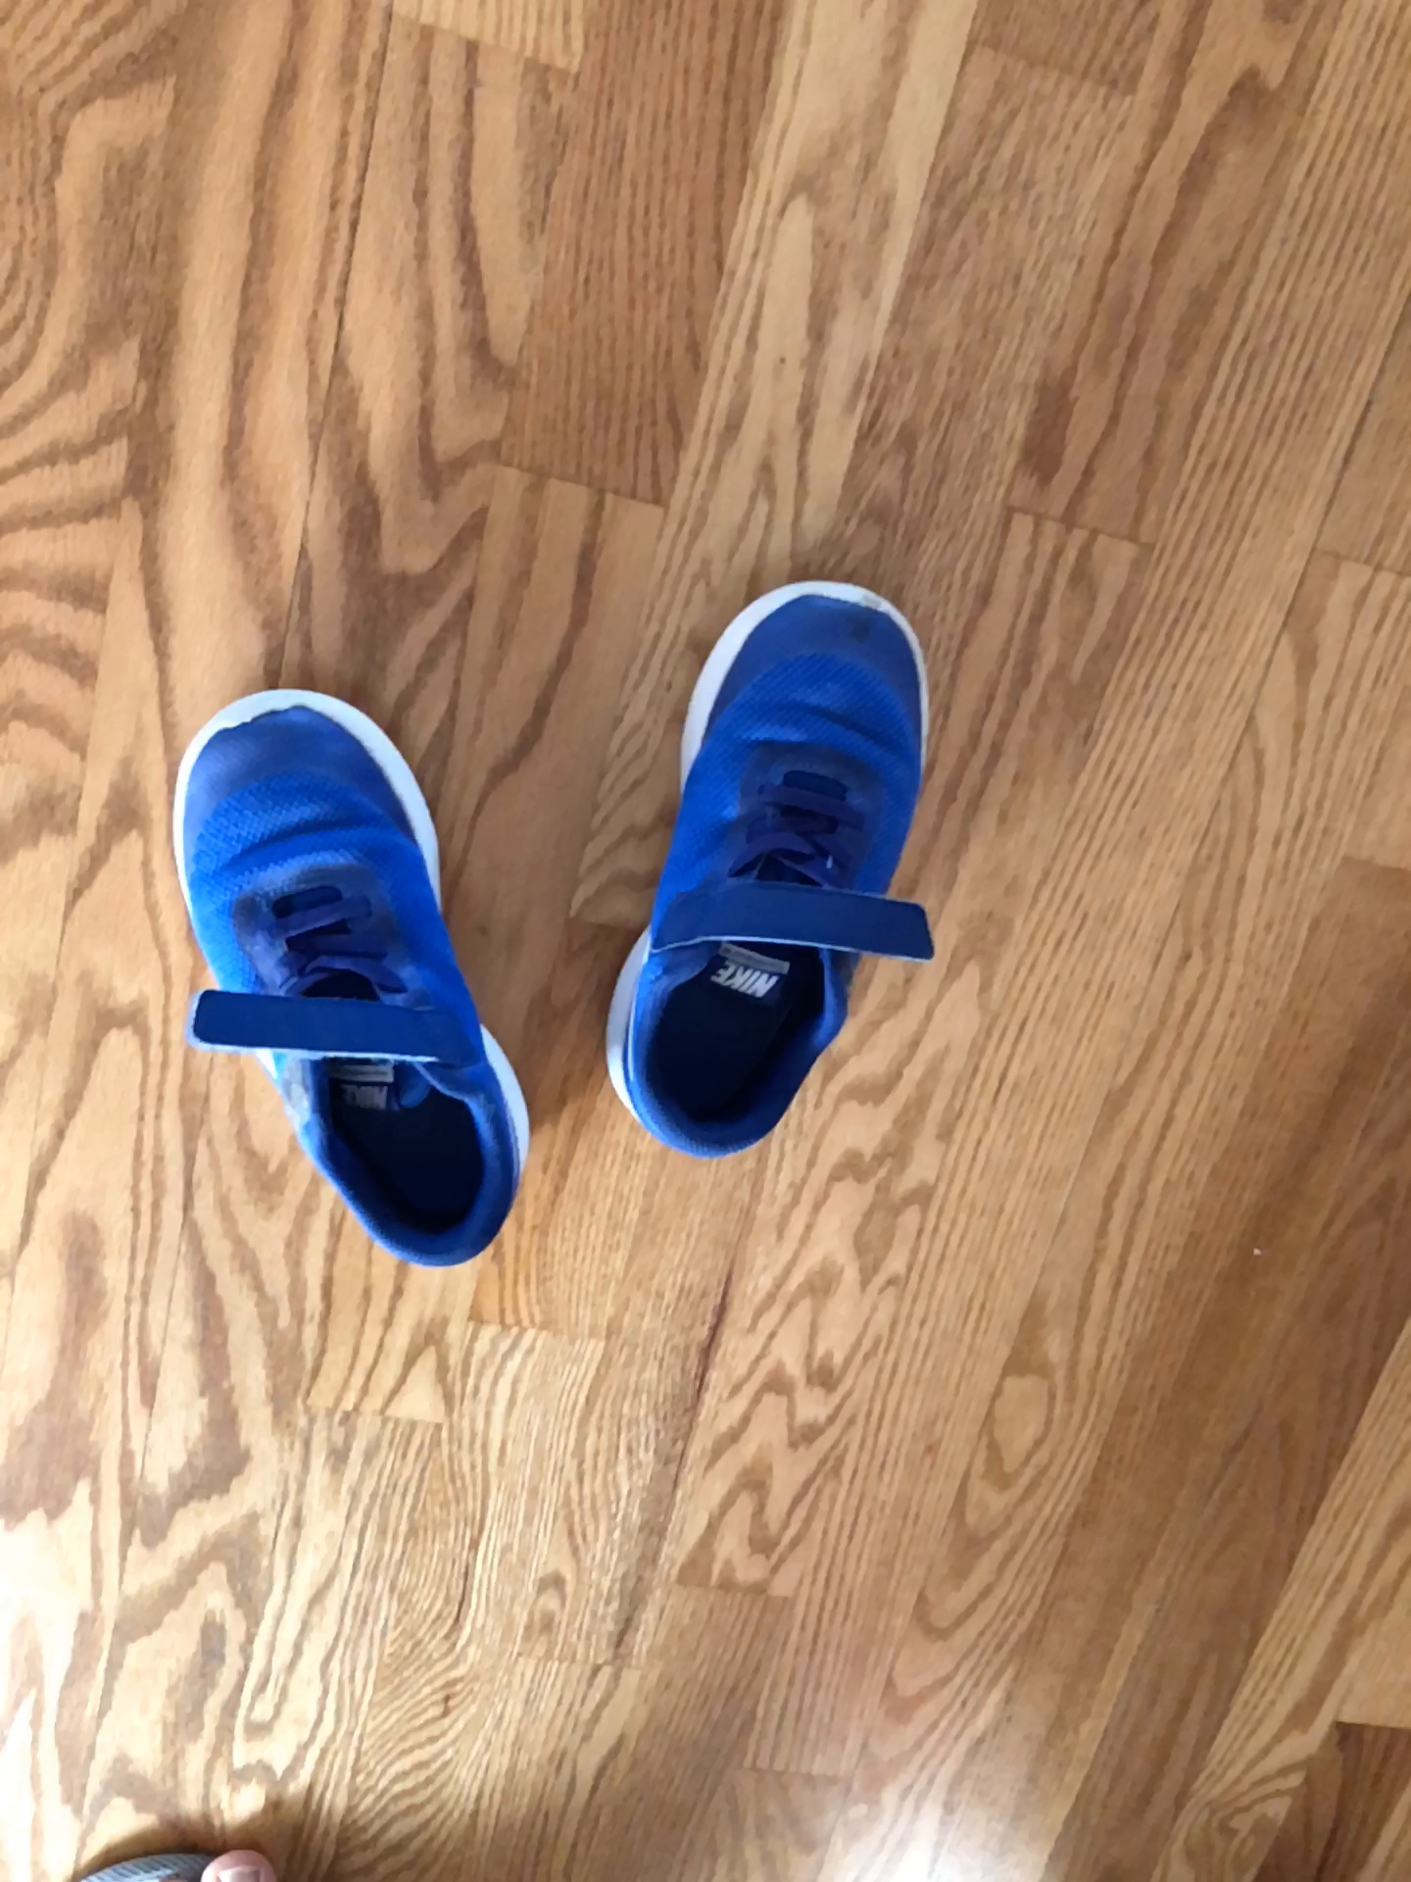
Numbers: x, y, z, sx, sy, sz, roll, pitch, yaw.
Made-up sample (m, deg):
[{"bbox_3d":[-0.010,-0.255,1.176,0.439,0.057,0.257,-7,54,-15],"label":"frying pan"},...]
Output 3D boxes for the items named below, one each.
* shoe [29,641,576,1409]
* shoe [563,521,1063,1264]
[{"bbox_3d":[-0.119,0.026,0.506,0.093,0.092,0.215,-16,111,-2],"label":"shoe"},{"bbox_3d":[0.025,-0.016,0.517,0.093,0.092,0.214,12,108,-12],"label":"shoe"}]
